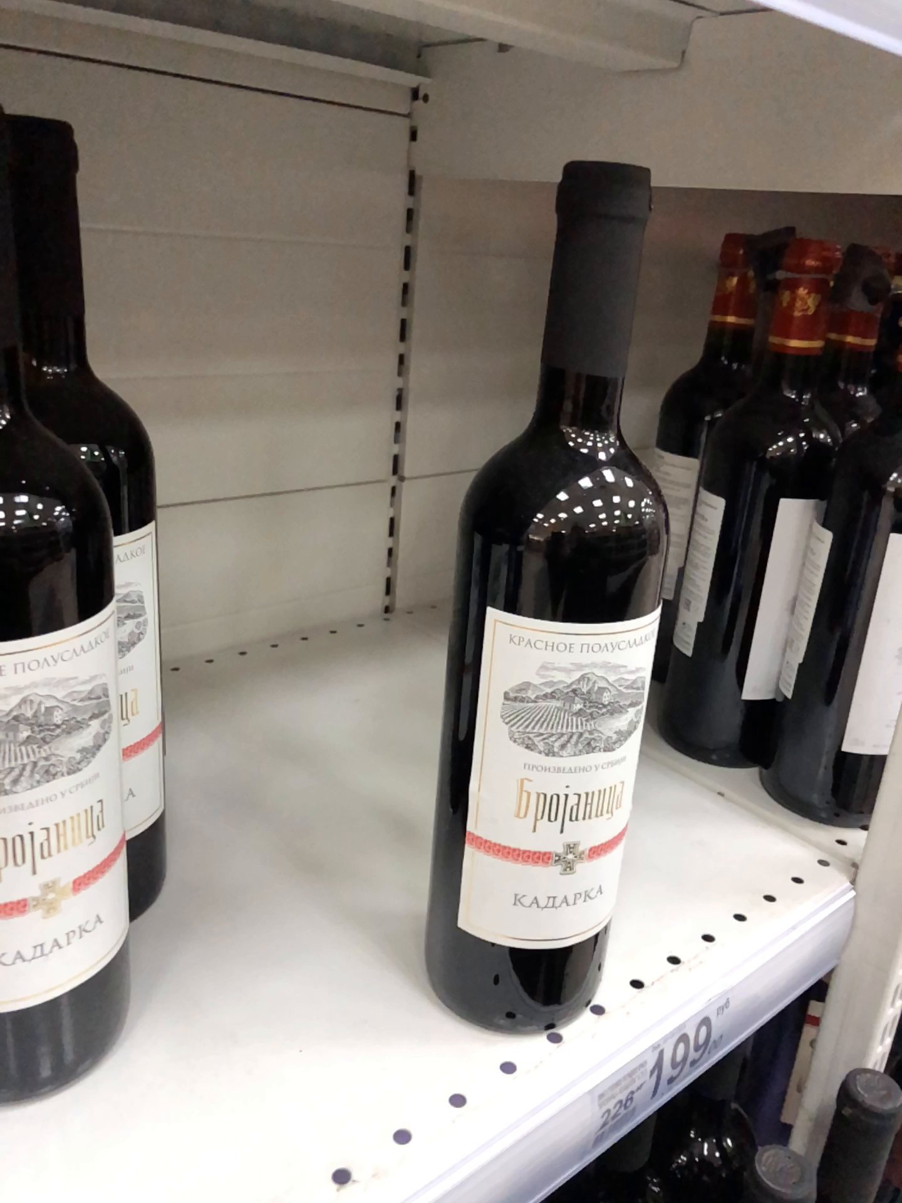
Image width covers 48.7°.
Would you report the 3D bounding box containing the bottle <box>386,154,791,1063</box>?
[{"bbox_3d":[0.035,0.010,0.363,0.080,0.308,0.080,5,20,-2],"label":"bottle"}]
